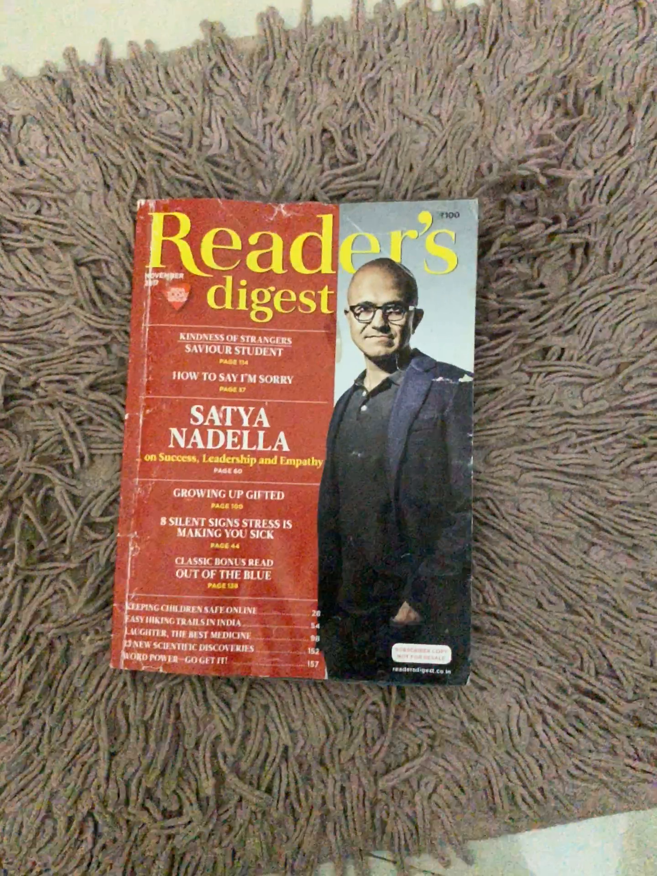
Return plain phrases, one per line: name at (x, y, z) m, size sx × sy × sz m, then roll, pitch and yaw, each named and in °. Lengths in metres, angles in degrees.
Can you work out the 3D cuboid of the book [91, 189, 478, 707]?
book at (-0.013, 0.001, 0.253) m, size 0.130 × 0.020 × 0.180 m, roll 2°, pitch 84°, yaw 1°
